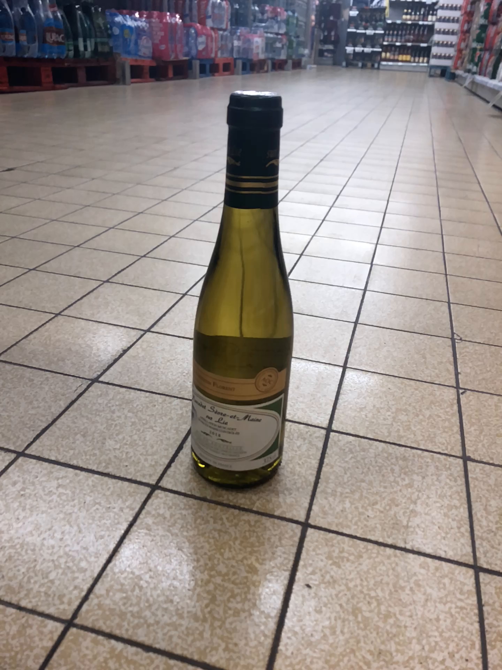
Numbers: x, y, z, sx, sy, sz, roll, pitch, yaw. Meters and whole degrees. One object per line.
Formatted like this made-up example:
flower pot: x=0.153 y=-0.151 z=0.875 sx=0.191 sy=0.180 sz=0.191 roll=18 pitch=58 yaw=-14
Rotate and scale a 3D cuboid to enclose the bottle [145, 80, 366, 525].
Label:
bottle: x=-0.003 y=-0.018 z=0.331 sx=0.080 sy=0.239 sz=0.080 roll=3 pitch=26 yaw=-1
